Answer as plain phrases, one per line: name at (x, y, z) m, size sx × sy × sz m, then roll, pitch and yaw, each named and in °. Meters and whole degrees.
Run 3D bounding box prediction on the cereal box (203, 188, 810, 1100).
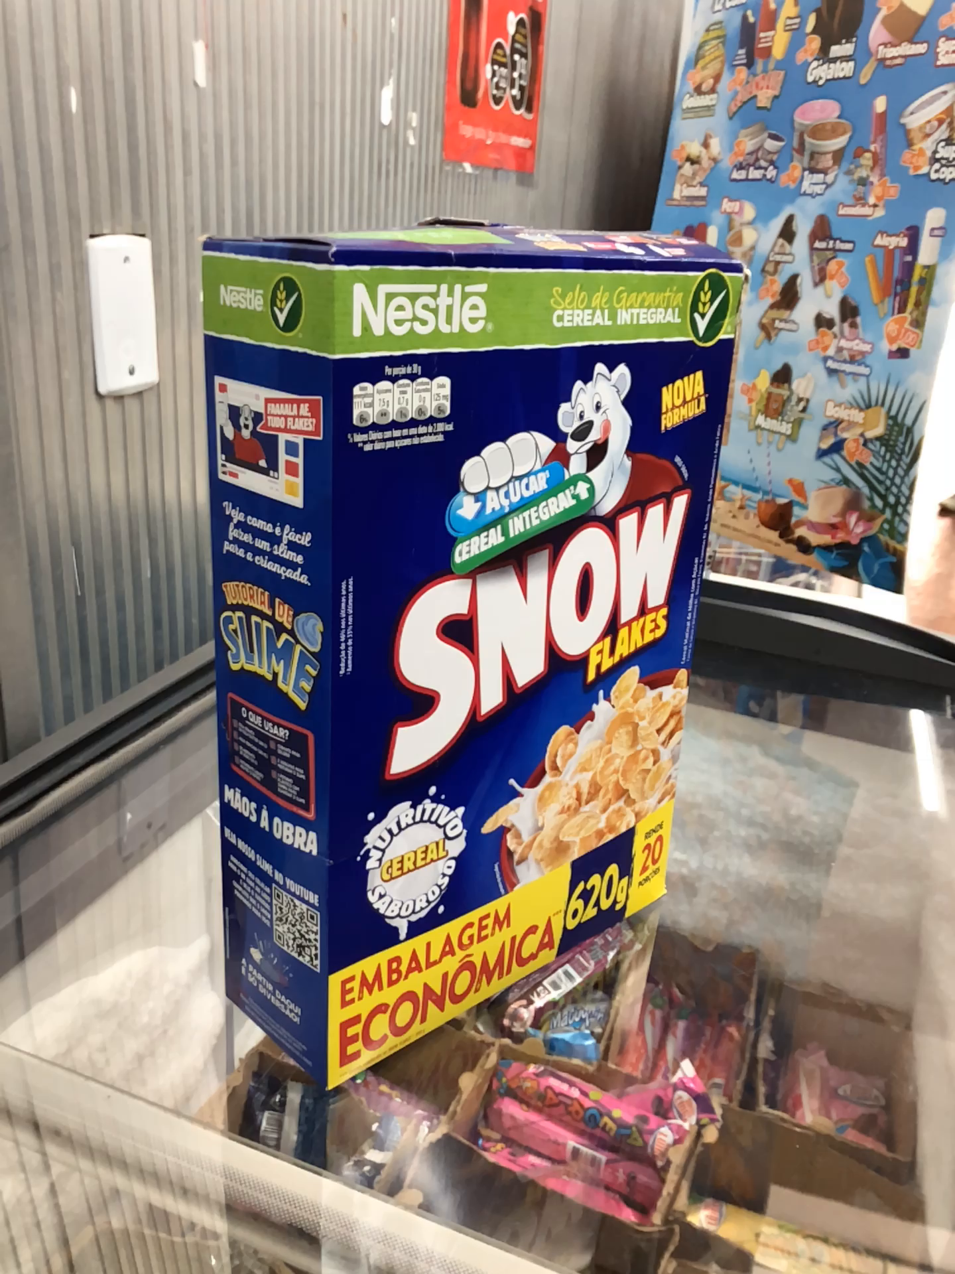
cereal box at (0.015, -0.008, 0.430) m, size 0.231 × 0.308 × 0.070 m, roll -17°, pitch 30°, yaw -40°
